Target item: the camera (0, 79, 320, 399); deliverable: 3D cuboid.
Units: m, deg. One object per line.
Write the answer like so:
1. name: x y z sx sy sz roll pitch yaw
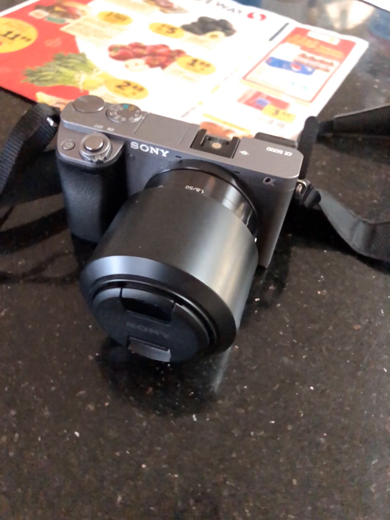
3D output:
1. camera: -0.019 -0.016 0.216 0.130 0.070 0.110 16 52 8
